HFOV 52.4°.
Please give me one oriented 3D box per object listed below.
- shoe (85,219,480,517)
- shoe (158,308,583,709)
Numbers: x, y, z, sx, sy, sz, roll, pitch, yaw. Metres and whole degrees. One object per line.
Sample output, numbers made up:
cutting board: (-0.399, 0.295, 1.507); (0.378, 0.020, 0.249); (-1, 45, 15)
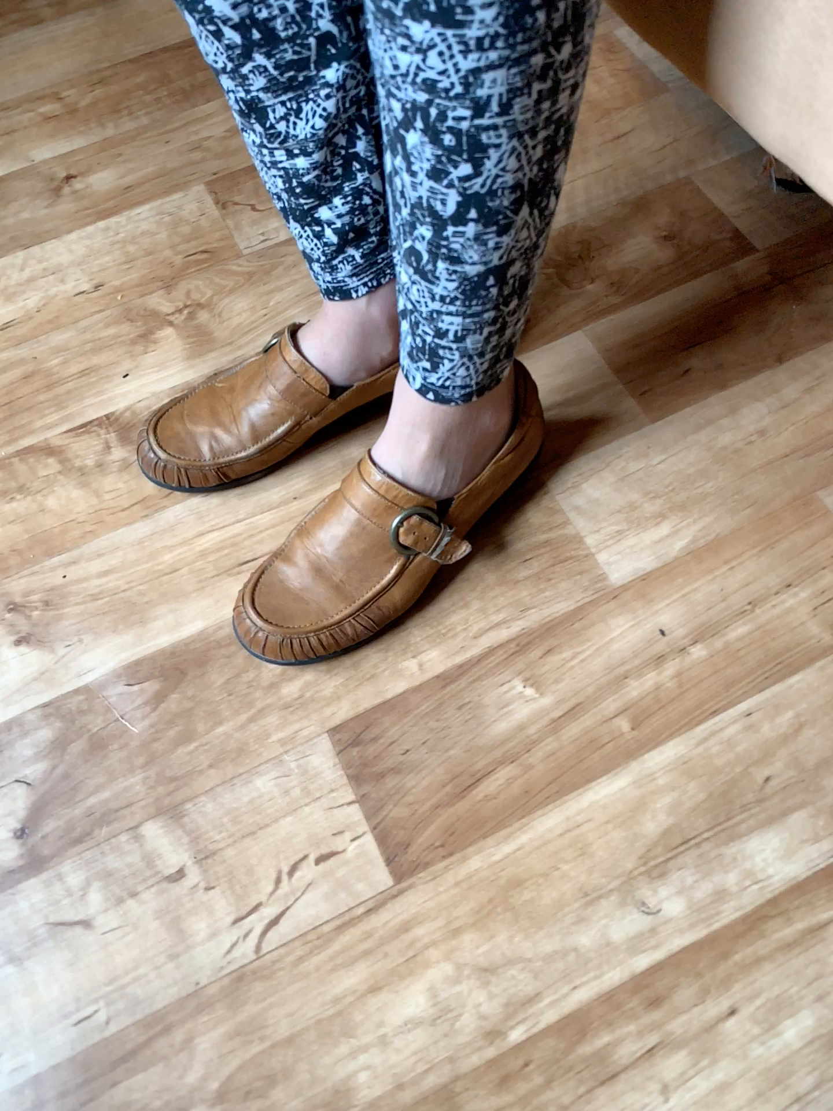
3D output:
shoe: (-0.069, -0.103, 0.468); (0.190, 0.070, 0.080); (-21, 63, -7)
shoe: (-0.017, -0.026, 0.422); (0.190, 0.070, 0.080); (-40, 67, -16)
